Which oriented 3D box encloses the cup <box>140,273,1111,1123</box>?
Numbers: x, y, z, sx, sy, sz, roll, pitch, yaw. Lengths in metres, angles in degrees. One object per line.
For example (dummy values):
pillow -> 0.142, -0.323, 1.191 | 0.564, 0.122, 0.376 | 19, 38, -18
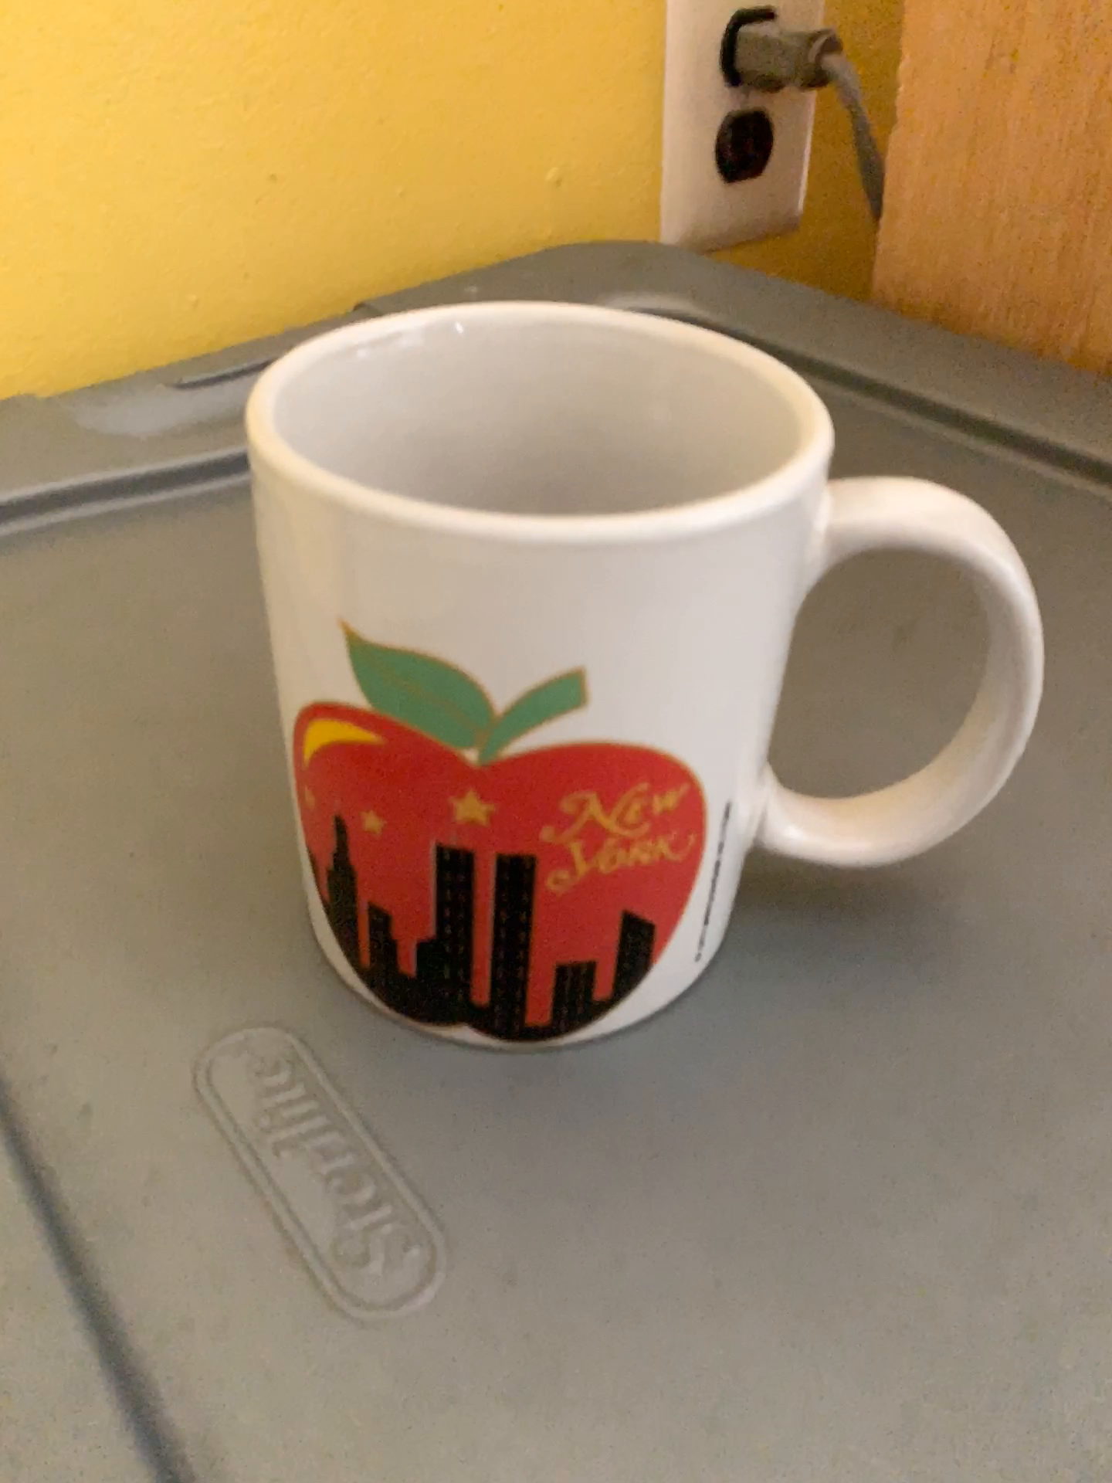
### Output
cup -> 0.013, -0.012, 0.197 | 0.118, 0.095, 0.098 | 6, 38, 3
